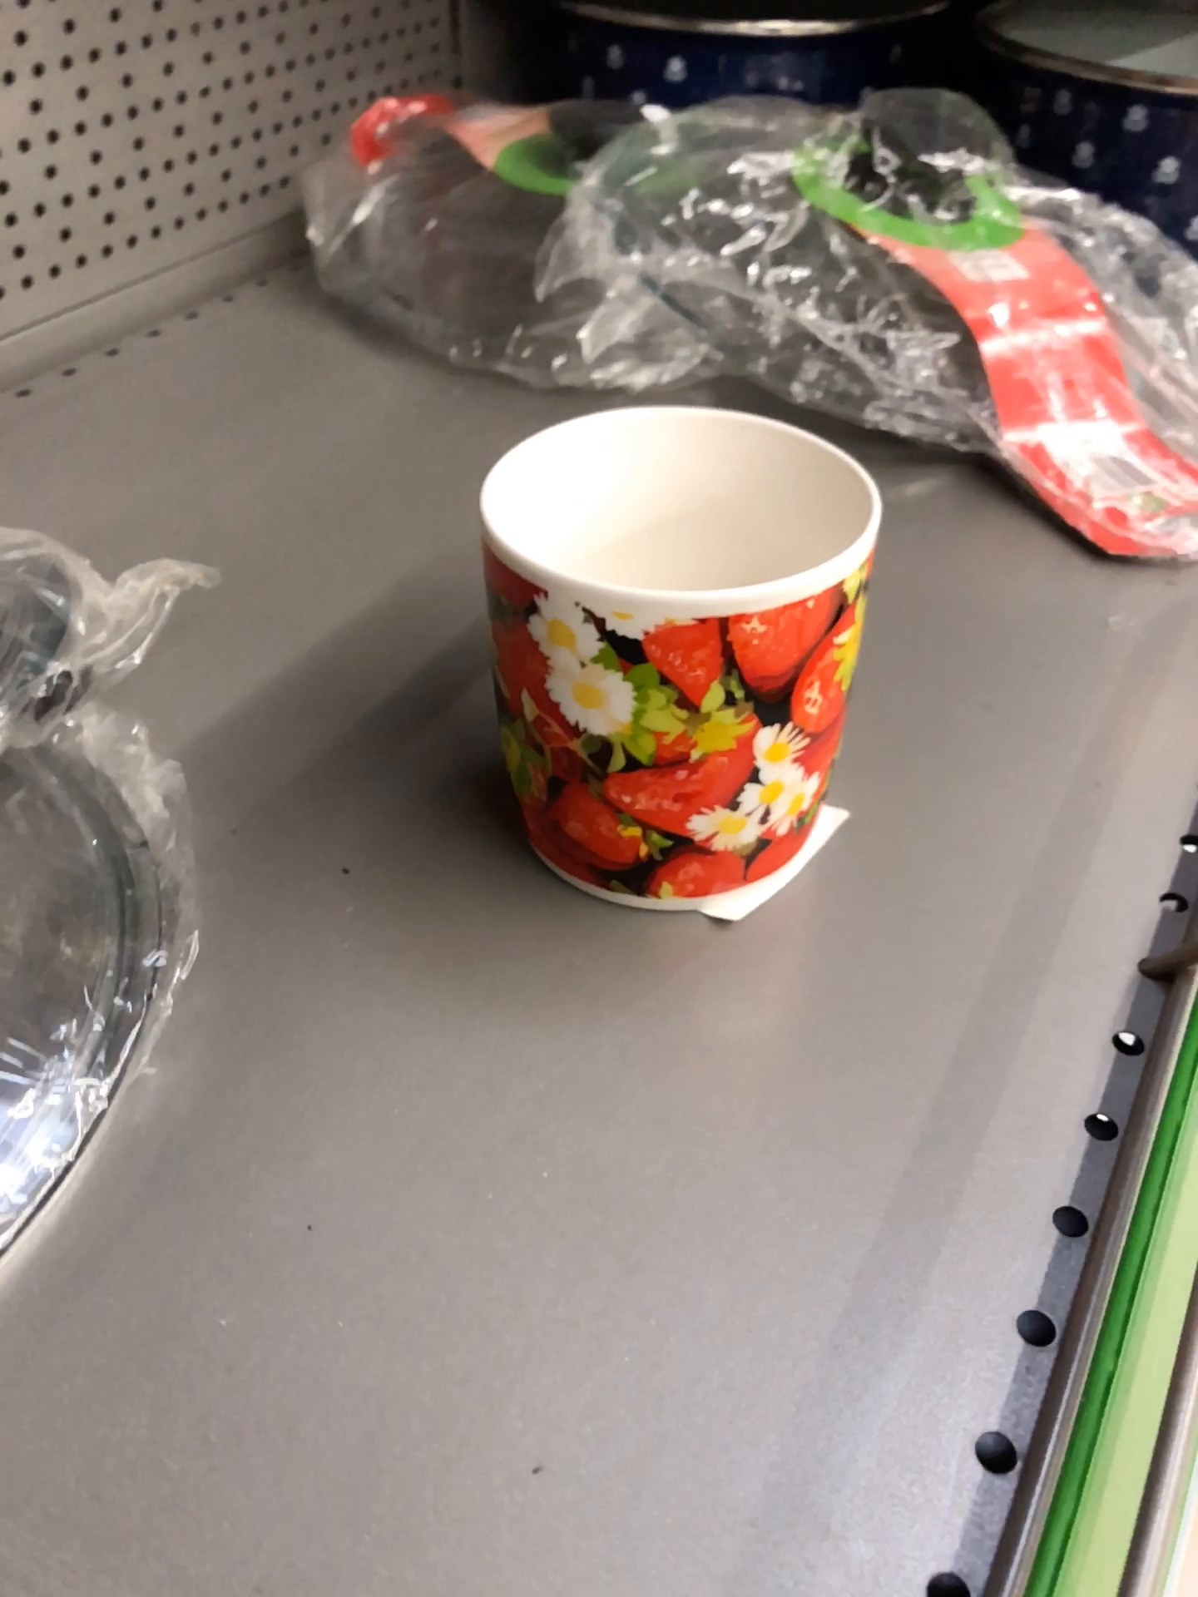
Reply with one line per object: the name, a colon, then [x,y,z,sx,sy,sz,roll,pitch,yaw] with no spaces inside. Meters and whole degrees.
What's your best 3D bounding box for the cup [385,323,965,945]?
cup: [0.023,-0.048,0.323,0.090,0.078,0.129,16,42,17]
